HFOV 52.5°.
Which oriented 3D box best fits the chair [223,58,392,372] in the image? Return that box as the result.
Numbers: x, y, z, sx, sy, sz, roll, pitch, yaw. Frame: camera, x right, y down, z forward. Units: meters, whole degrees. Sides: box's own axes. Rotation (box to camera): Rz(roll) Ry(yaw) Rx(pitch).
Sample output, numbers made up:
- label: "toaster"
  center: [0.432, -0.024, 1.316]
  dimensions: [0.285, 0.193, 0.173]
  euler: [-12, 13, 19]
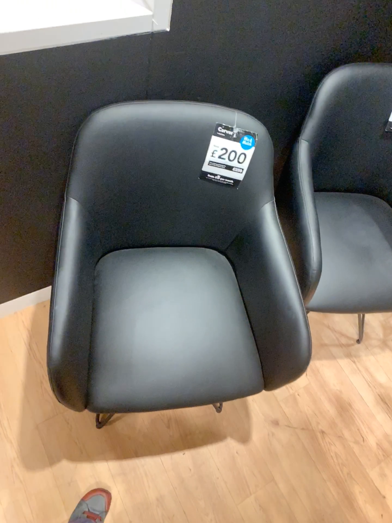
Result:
- label: "chair"
  center: [0.511, -0.076, 1.292]
  dimensions: [0.564, 0.838, 0.594]
  euler: [-5, 62, -13]

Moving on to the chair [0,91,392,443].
- label: "chair"
  center: [-0.063, 0.094, 1.061]
  dimensions: [0.604, 0.779, 0.594]
  euler: [-2, 62, -12]
